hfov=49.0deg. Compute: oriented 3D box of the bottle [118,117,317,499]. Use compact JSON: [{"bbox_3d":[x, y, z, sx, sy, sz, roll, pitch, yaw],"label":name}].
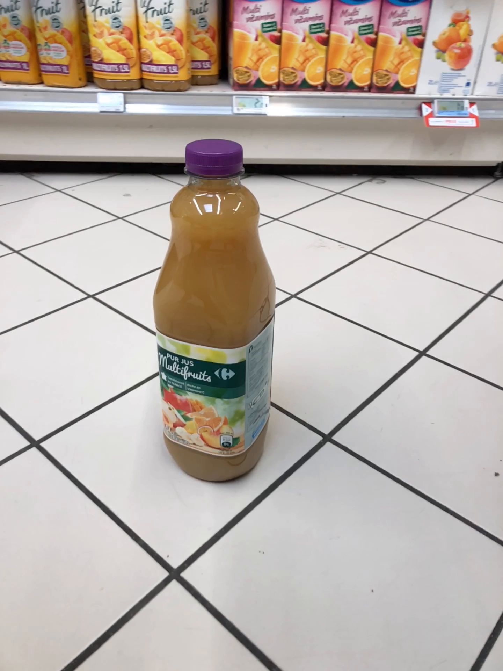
[{"bbox_3d":[-0.023,-0.016,0.447,0.100,0.278,0.101,1,32,-1],"label":"bottle"}]
